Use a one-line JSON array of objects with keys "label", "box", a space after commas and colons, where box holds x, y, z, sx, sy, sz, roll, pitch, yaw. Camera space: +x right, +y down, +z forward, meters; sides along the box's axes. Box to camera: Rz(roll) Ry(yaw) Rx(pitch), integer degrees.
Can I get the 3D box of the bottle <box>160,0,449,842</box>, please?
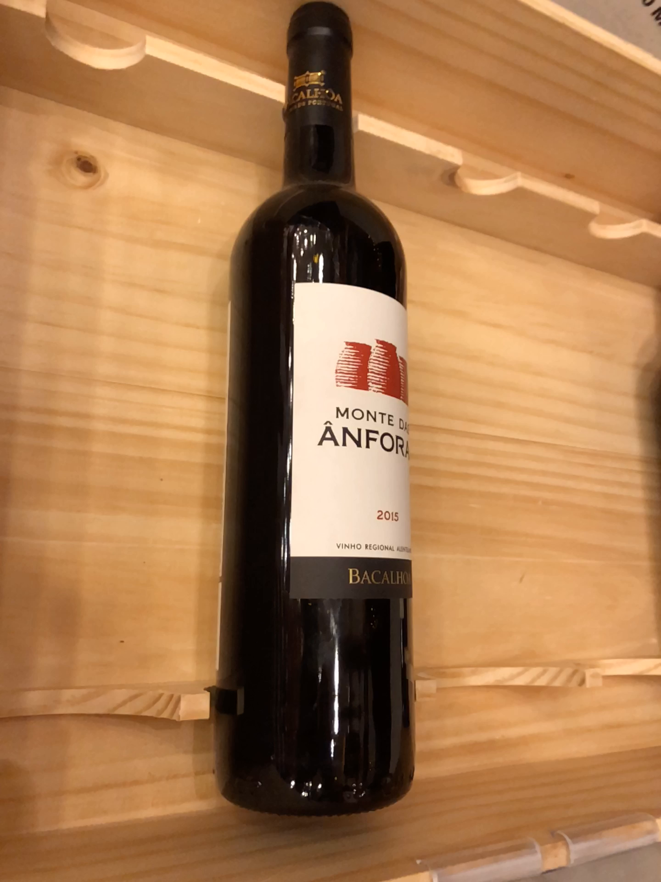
[{"label": "bottle", "box": [-0.010, -0.038, 0.278, 0.080, 0.060, 0.320, 6, 79, -29]}]
